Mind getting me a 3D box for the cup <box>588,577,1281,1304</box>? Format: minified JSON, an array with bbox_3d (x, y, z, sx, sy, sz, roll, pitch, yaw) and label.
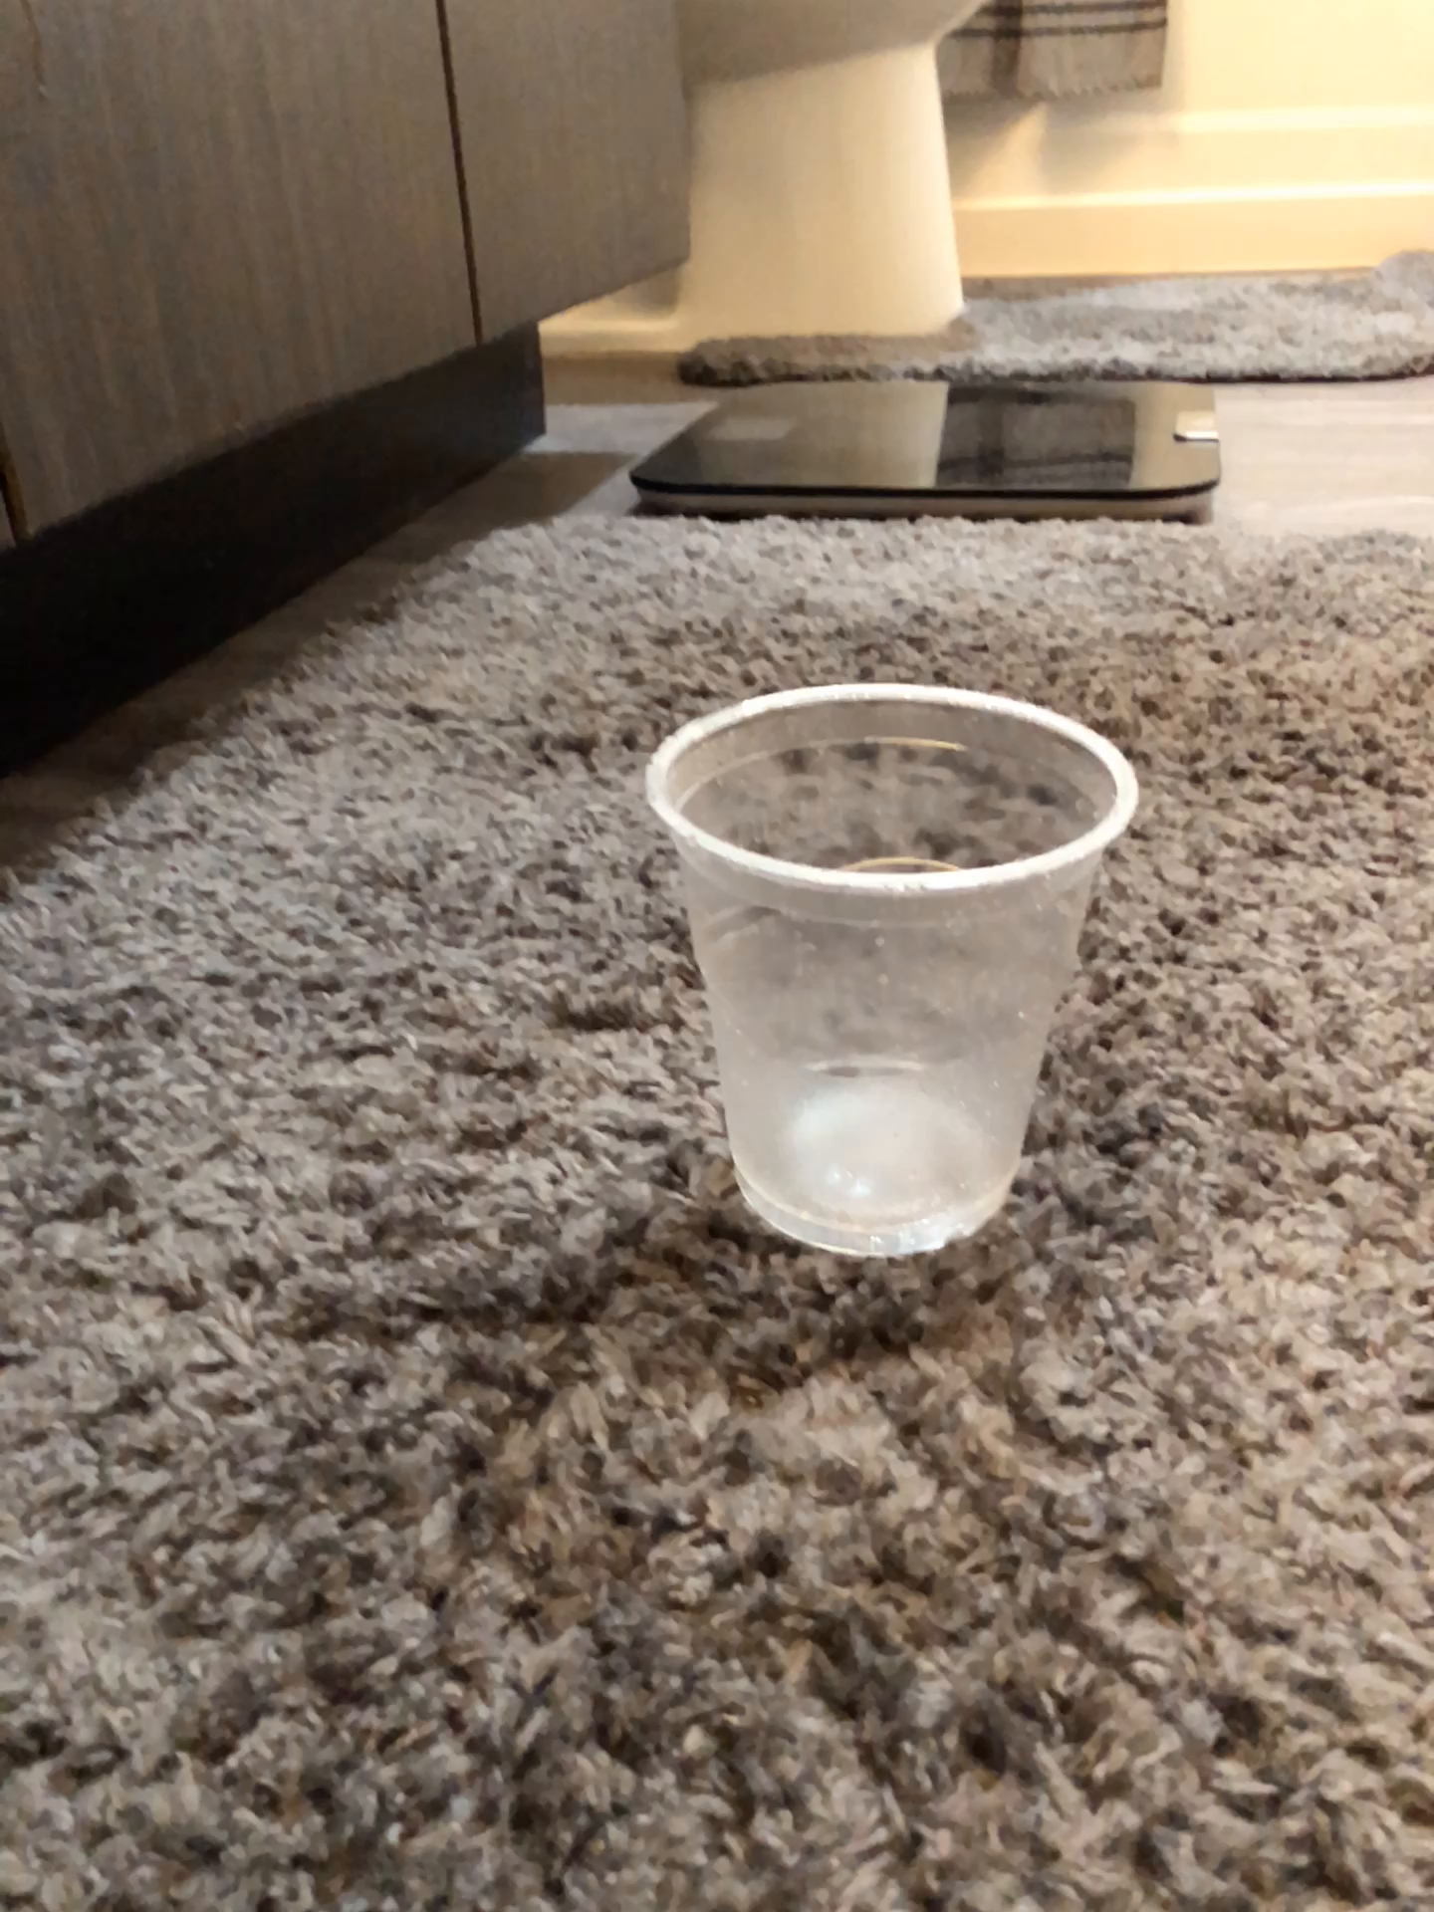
[{"bbox_3d":[0.042,-0.011,0.299,0.090,0.090,0.090,-2,28,1],"label":"cup"}]
